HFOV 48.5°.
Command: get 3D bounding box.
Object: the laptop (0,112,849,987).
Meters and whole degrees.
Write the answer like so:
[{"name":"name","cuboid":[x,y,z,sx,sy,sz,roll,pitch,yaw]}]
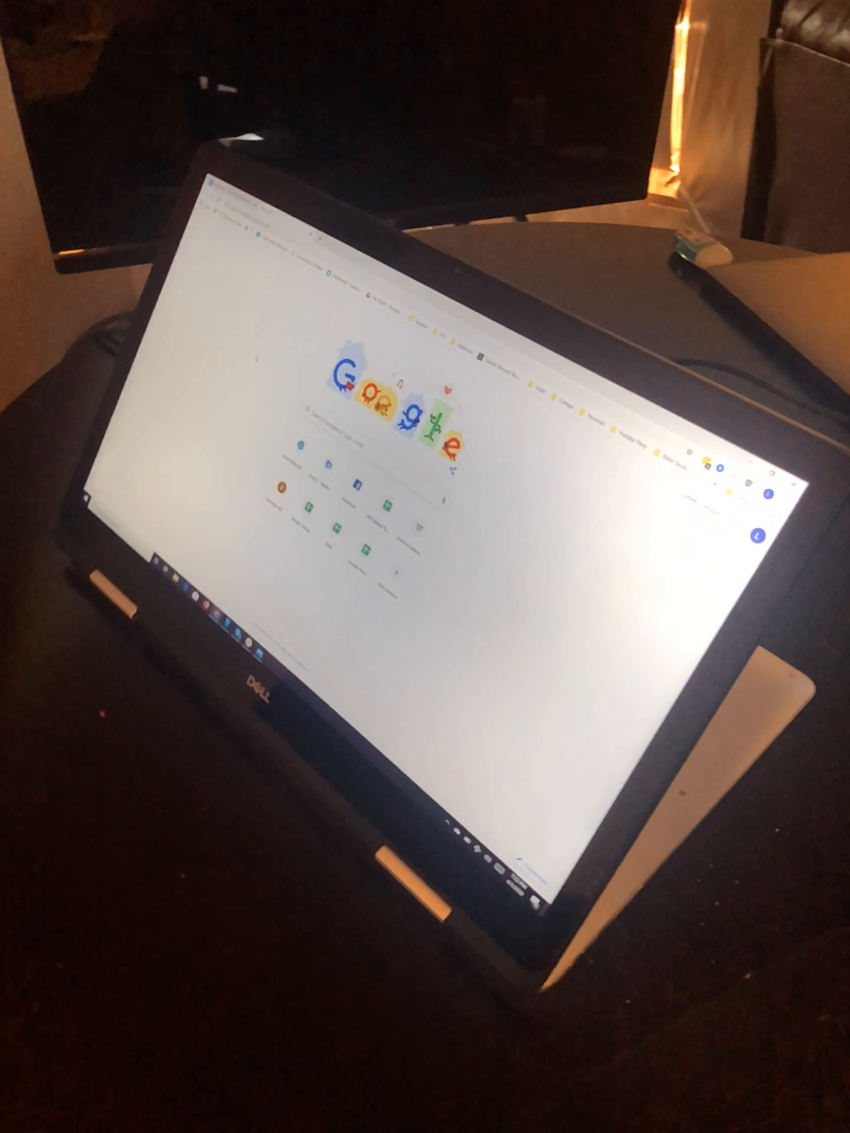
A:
[{"name":"laptop","cuboid":[0.007,-0.055,0.530,0.268,0.232,0.419,-32,53,-33]}]
